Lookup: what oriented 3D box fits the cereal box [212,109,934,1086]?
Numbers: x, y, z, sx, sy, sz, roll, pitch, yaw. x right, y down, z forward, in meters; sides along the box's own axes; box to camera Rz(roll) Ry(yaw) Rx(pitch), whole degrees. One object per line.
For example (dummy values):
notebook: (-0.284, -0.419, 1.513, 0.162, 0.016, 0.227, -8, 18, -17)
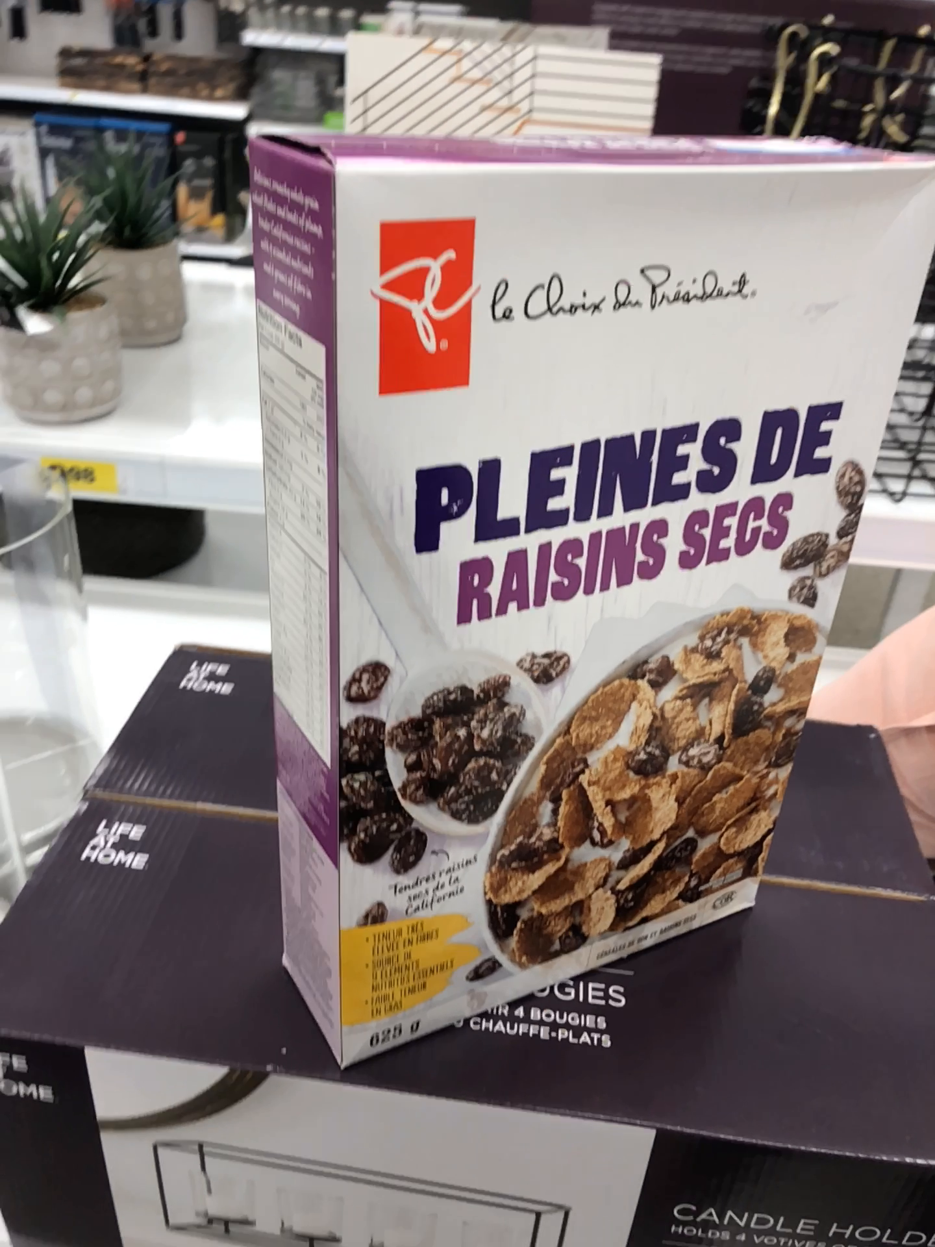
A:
cereal box: (0.031, 0.000, 0.346, 0.200, 0.299, 0.060, -12, 36, -25)
